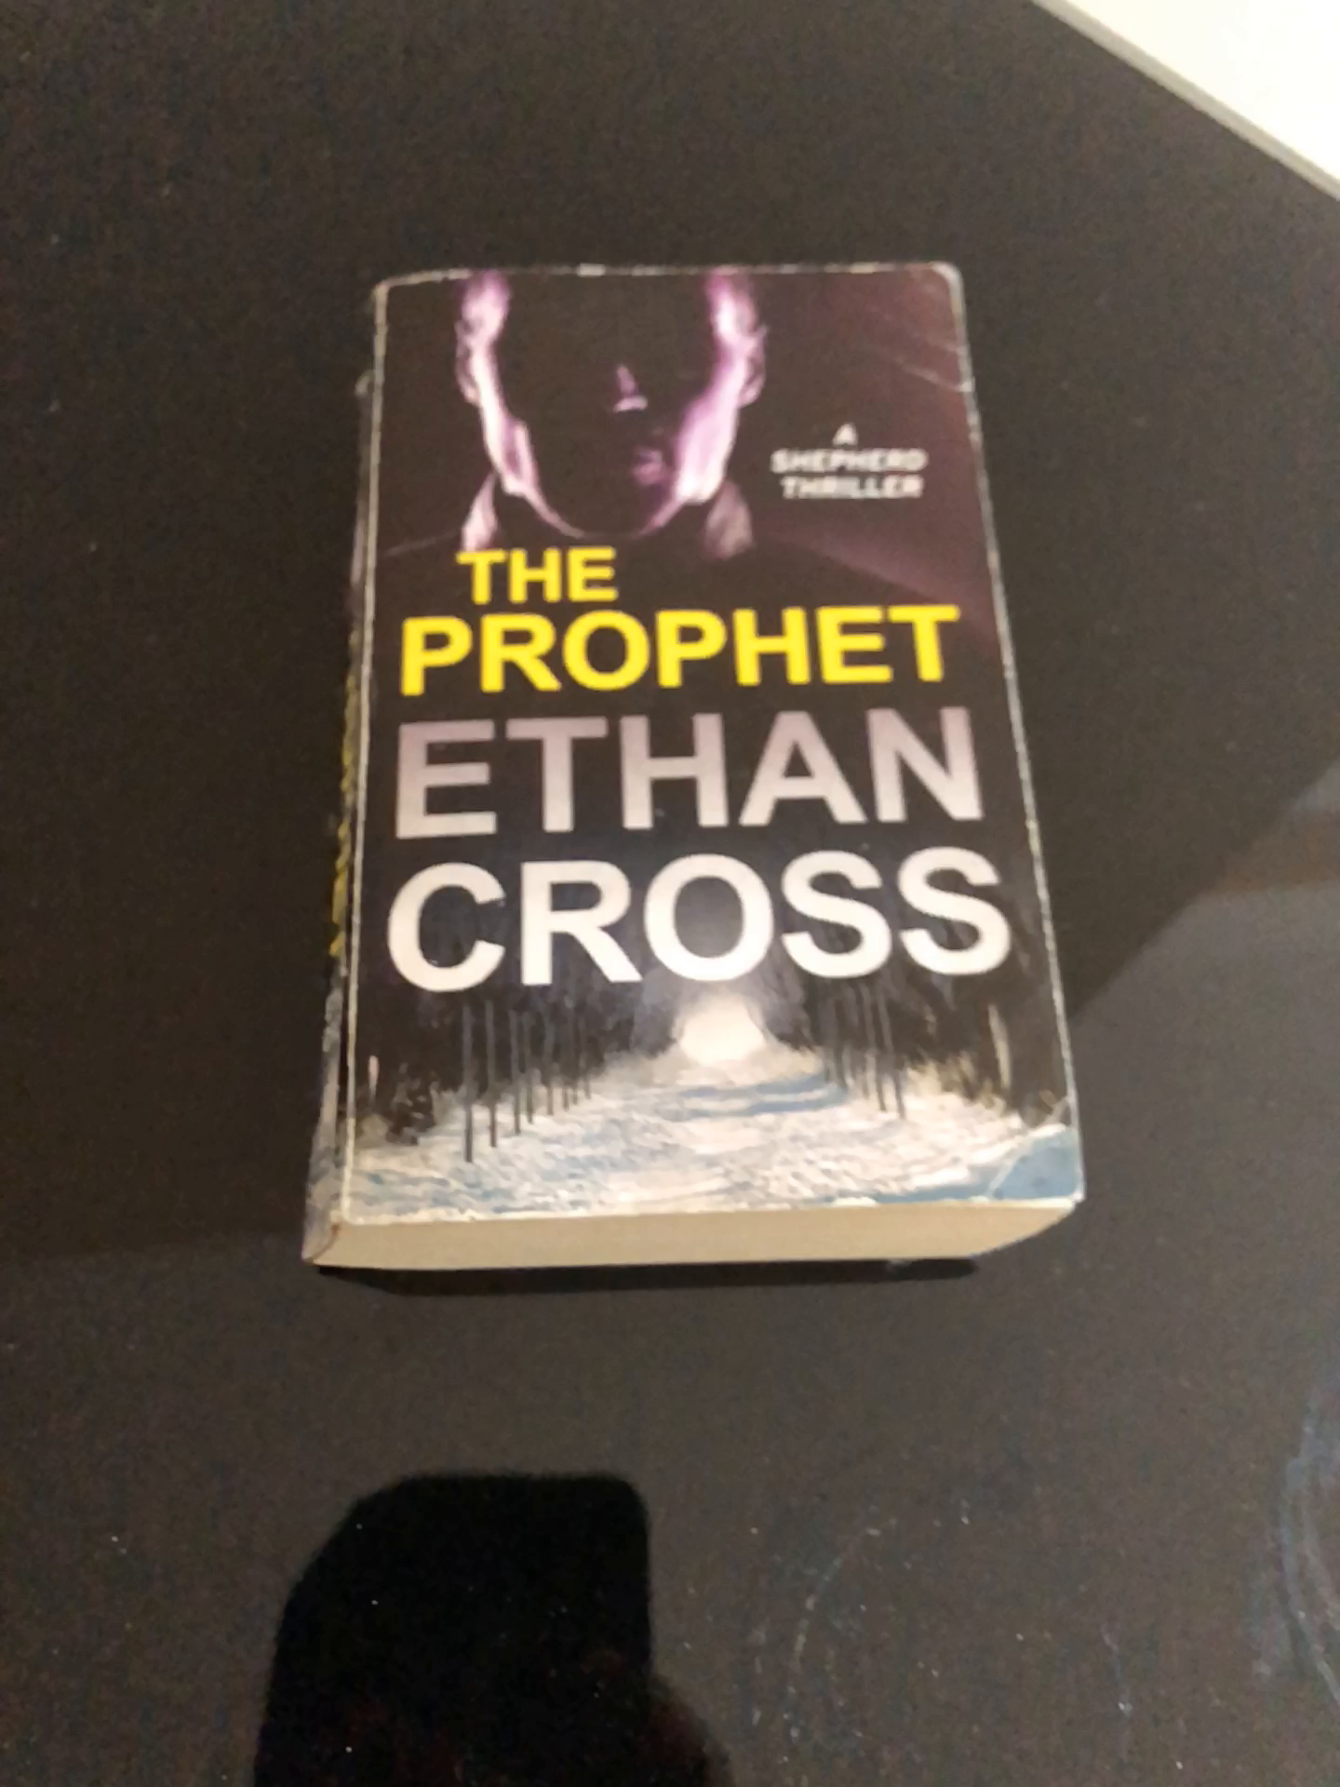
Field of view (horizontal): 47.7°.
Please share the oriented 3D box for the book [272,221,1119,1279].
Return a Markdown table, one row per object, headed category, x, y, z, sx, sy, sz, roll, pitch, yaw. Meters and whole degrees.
| category | x | y | z | sx | sy | sz | roll | pitch | yaw |
| --- | --- | --- | --- | --- | --- | --- | --- | --- | --- |
| book | 0.000 | -0.031 | 0.258 | 0.115 | 0.040 | 0.180 | -1 | 68 | -2 |
